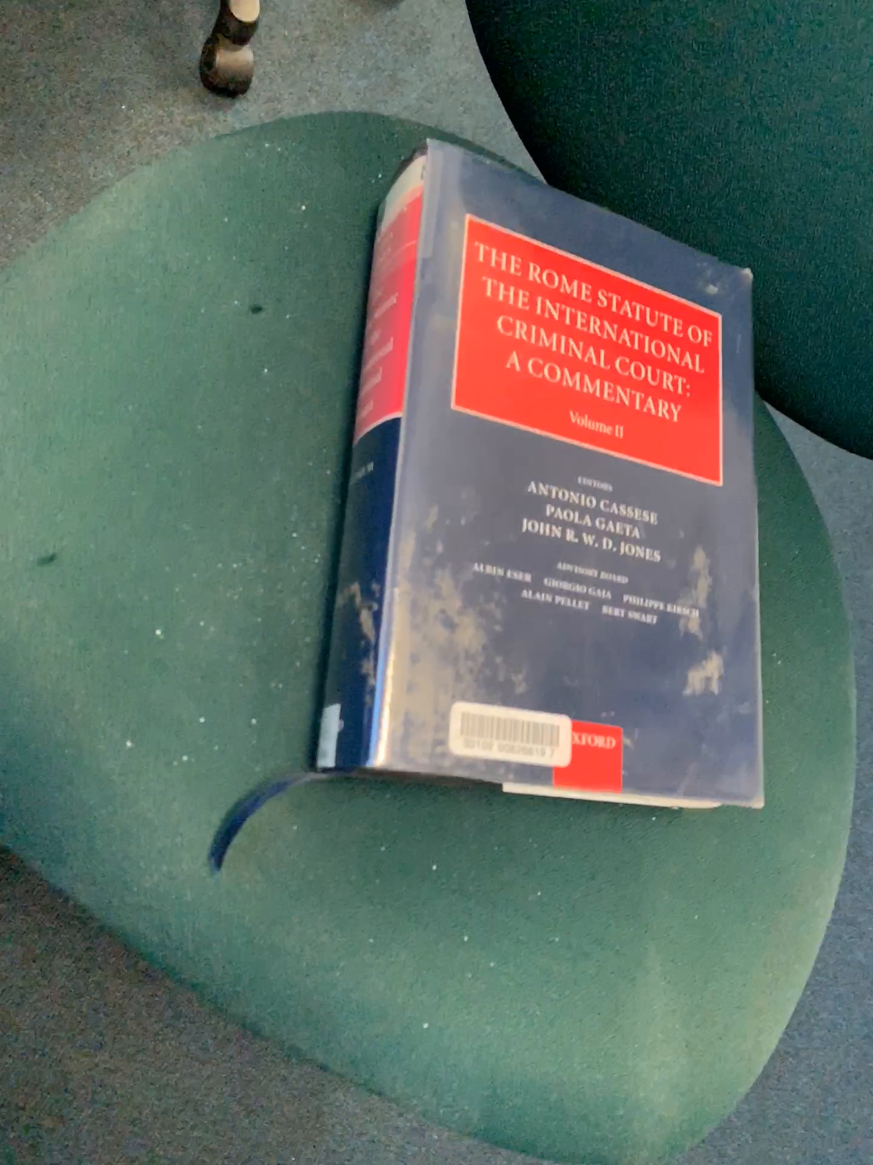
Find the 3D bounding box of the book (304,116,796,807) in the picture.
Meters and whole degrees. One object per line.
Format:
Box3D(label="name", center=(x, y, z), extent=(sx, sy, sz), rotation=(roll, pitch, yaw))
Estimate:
Box3D(label="book", center=(0.057, -0.040, 0.391), extent=(0.188, 0.070, 0.257), rotation=(12, 72, -25))
